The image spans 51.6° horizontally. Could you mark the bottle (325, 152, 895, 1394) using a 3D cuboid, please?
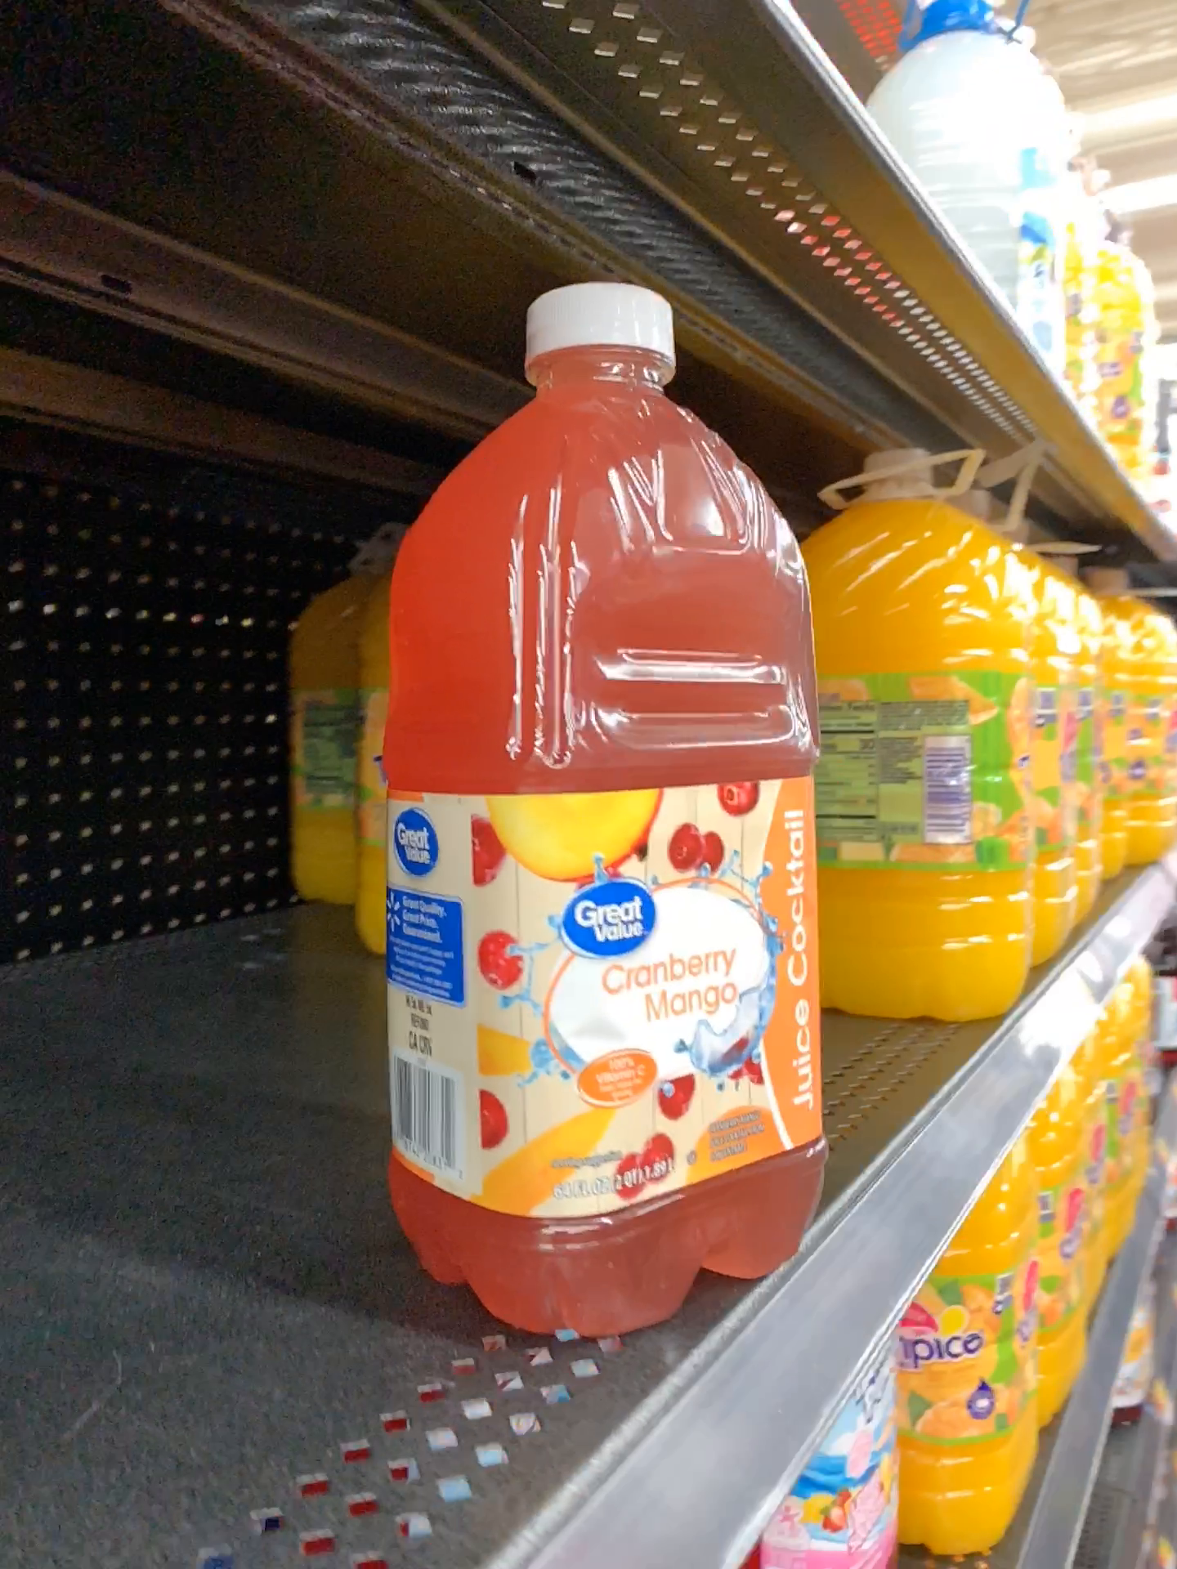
[{"bbox_3d":[0.004,-0.004,0.343,0.119,0.272,0.101,-3,5,-38],"label":"bottle"}]
